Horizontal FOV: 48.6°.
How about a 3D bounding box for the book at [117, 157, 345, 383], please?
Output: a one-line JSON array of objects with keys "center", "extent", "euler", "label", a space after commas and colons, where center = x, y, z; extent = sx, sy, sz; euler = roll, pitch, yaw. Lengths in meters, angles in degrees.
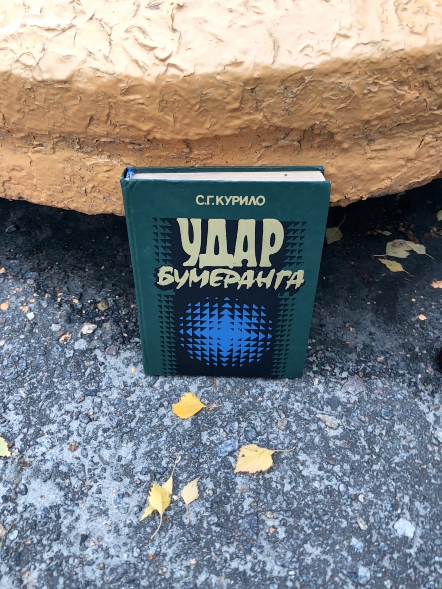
[{"center": [0.011, -0.007, 0.349], "extent": [0.131, 0.178, 0.029], "euler": [1, 41, 7], "label": "book"}]
